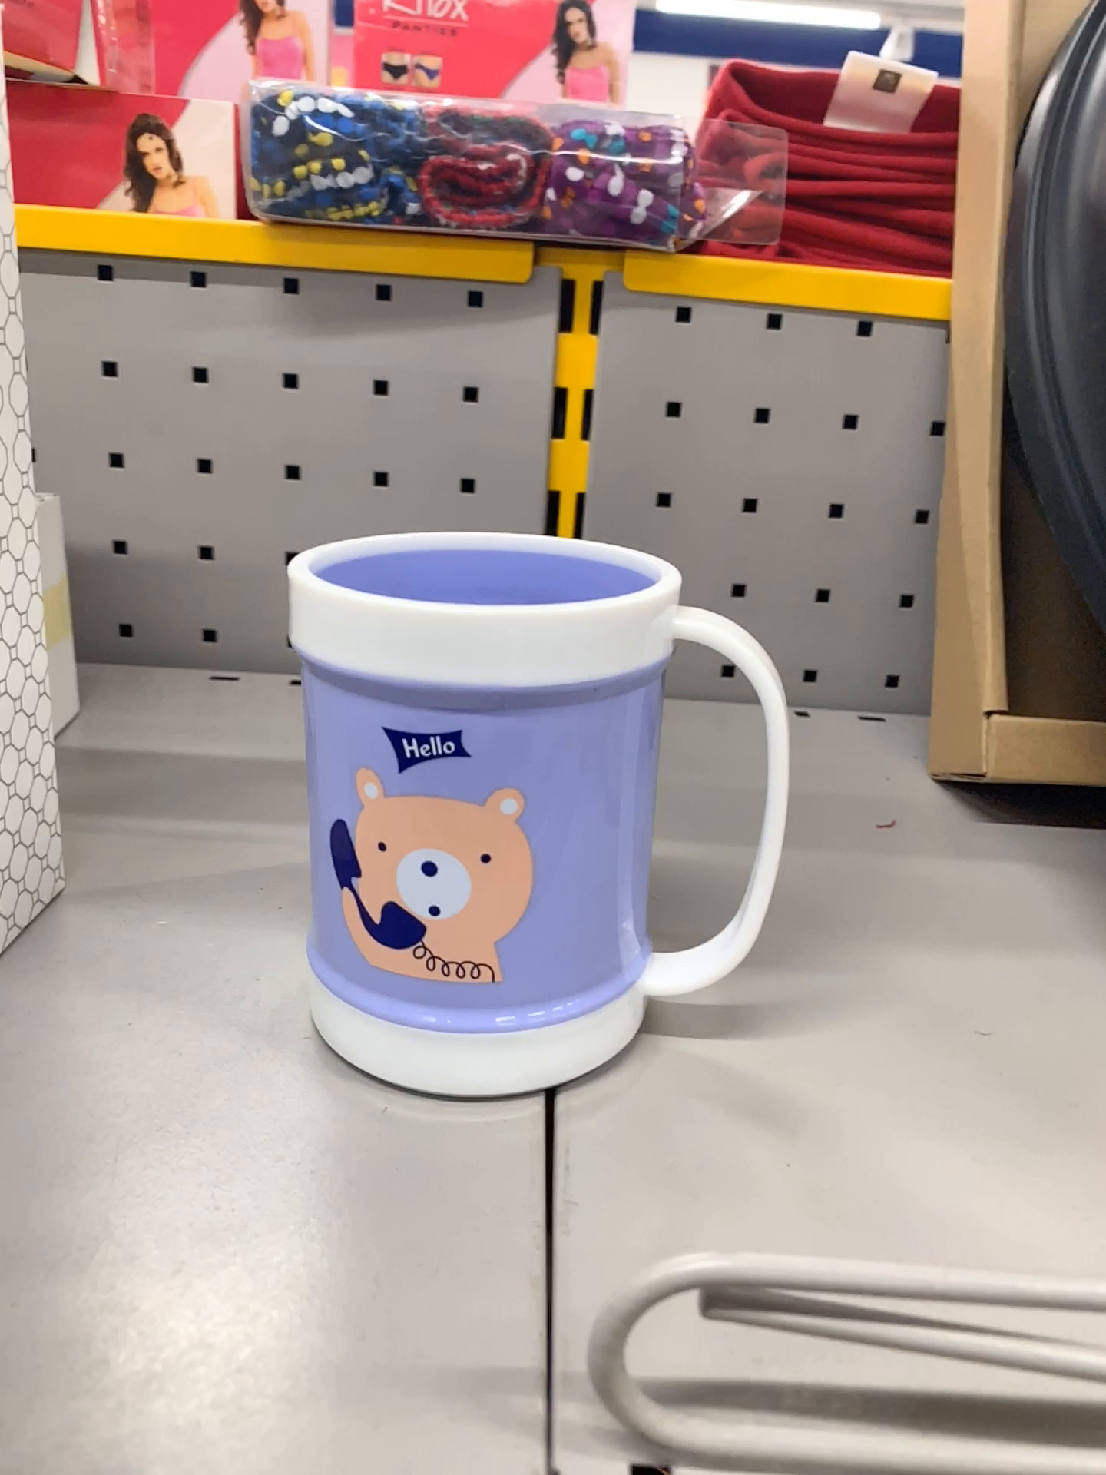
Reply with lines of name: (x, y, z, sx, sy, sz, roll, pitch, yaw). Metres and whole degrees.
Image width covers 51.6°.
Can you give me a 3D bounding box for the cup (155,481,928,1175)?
cup: (-0.002, 0.009, 0.234, 0.120, 0.100, 0.090, 7, 20, 6)
